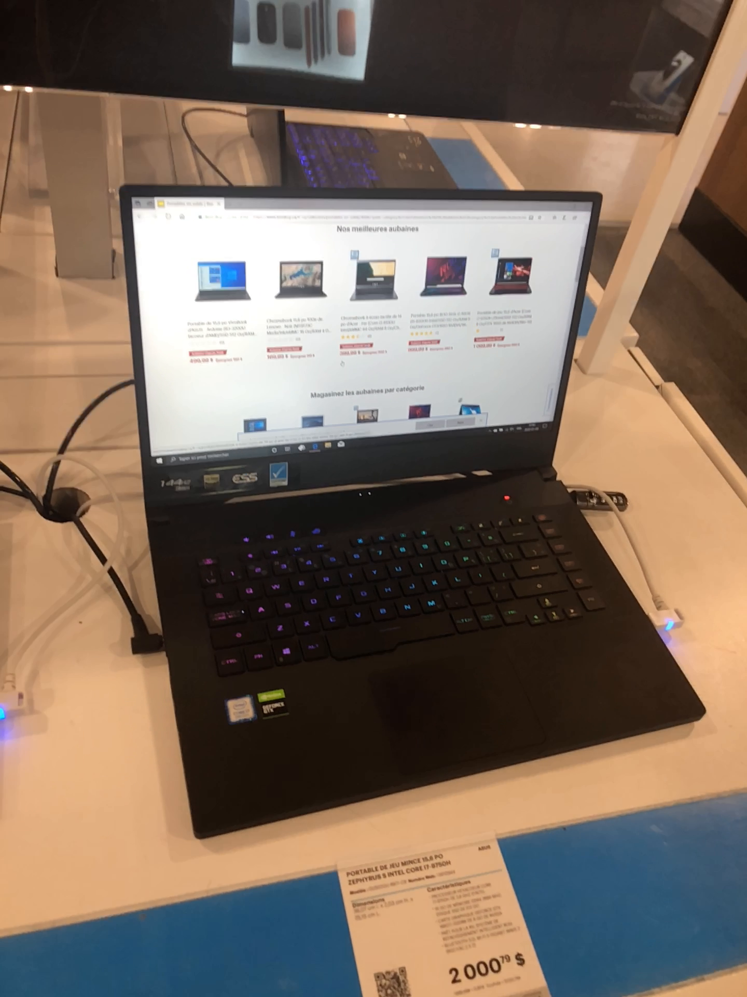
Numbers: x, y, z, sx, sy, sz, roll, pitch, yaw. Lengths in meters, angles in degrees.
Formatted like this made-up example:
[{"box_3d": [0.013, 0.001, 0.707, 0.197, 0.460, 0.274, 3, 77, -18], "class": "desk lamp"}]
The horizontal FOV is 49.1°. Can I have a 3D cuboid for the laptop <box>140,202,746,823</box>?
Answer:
[{"box_3d": [0.040, -0.021, 0.537, 0.340, 0.207, 0.316, -6, 47, -17], "class": "laptop"}]
